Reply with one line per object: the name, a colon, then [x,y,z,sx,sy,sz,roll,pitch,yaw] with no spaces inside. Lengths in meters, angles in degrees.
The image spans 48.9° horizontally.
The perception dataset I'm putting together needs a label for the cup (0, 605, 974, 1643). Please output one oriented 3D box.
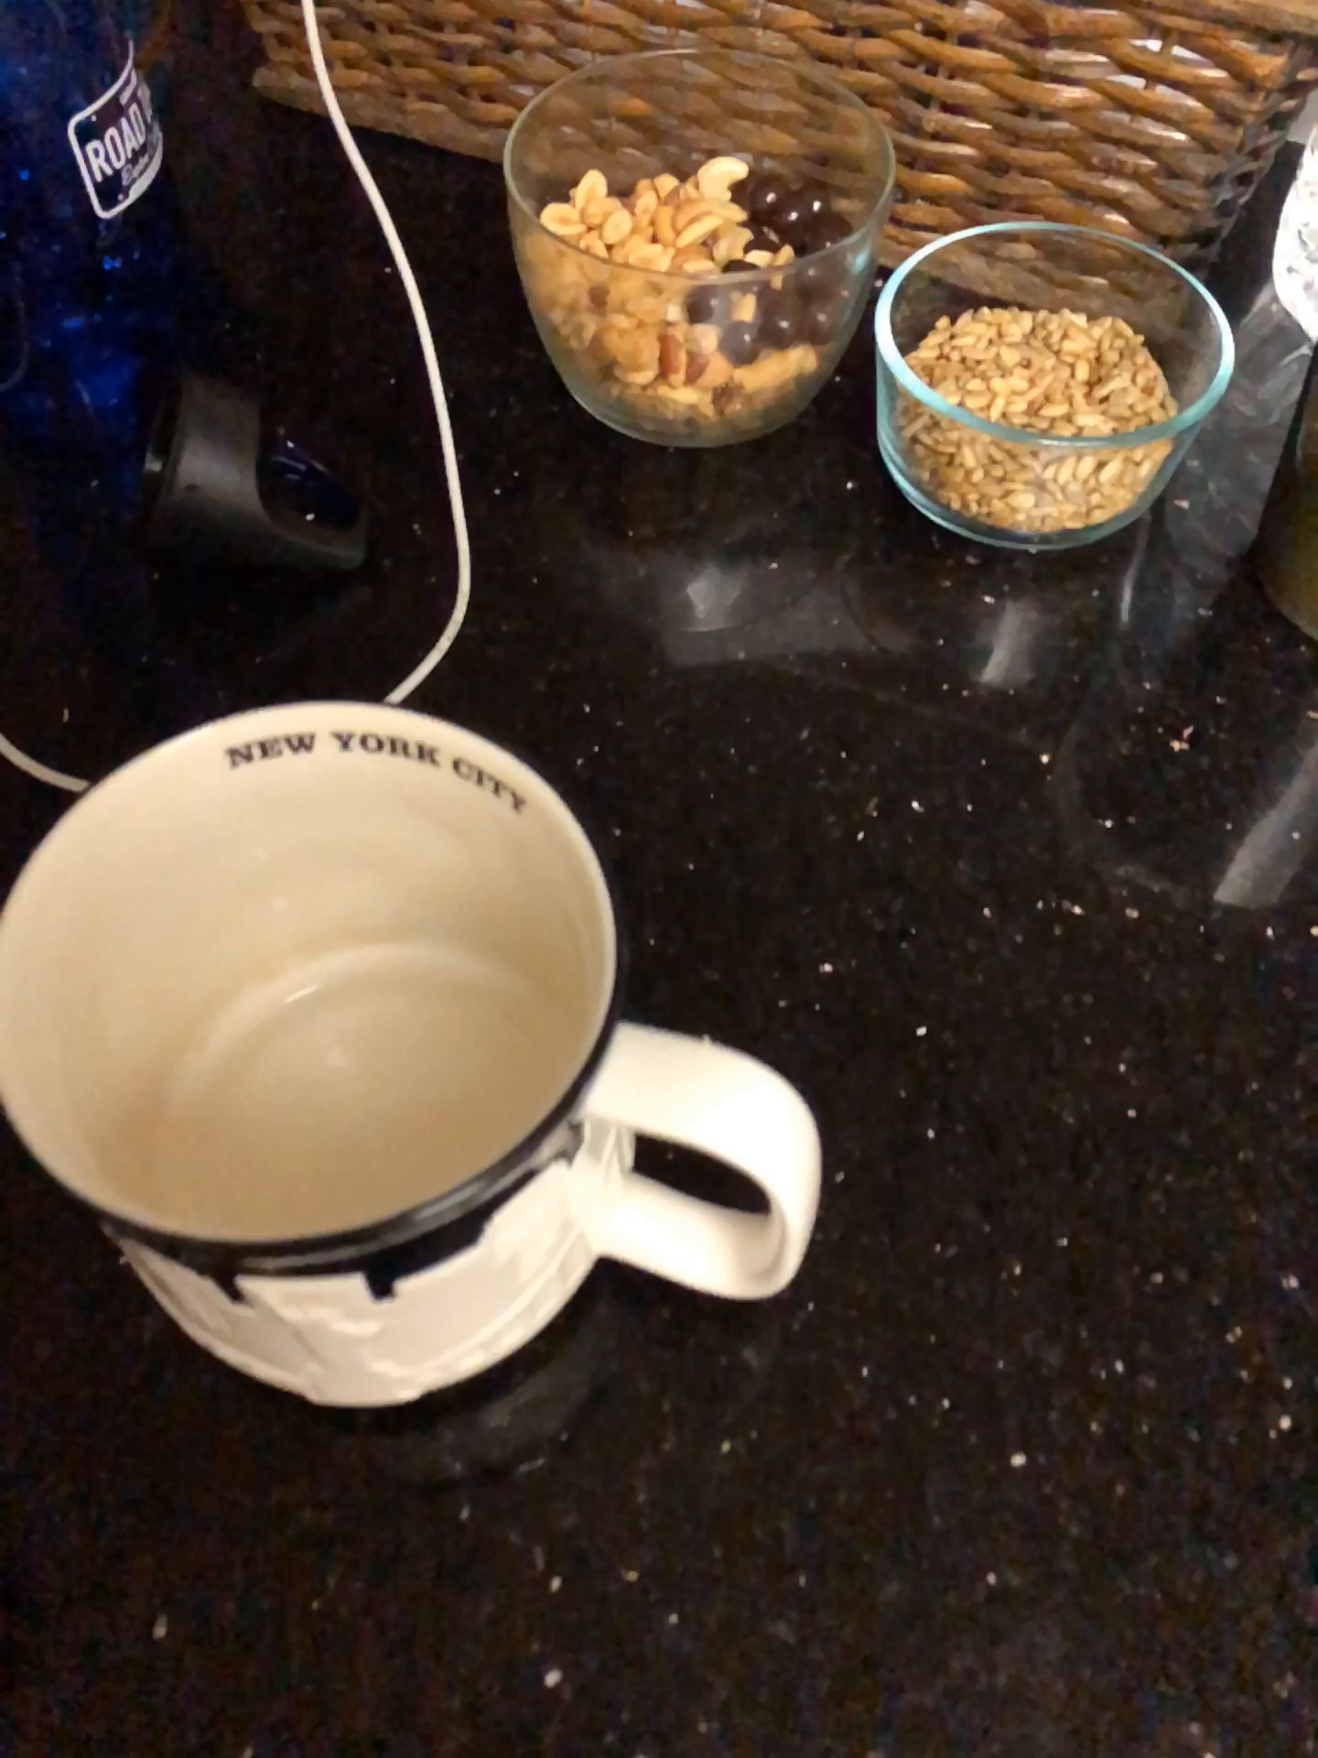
cup: [-0.039,0.043,0.272,0.150,0.090,0.120,20,59,12]
